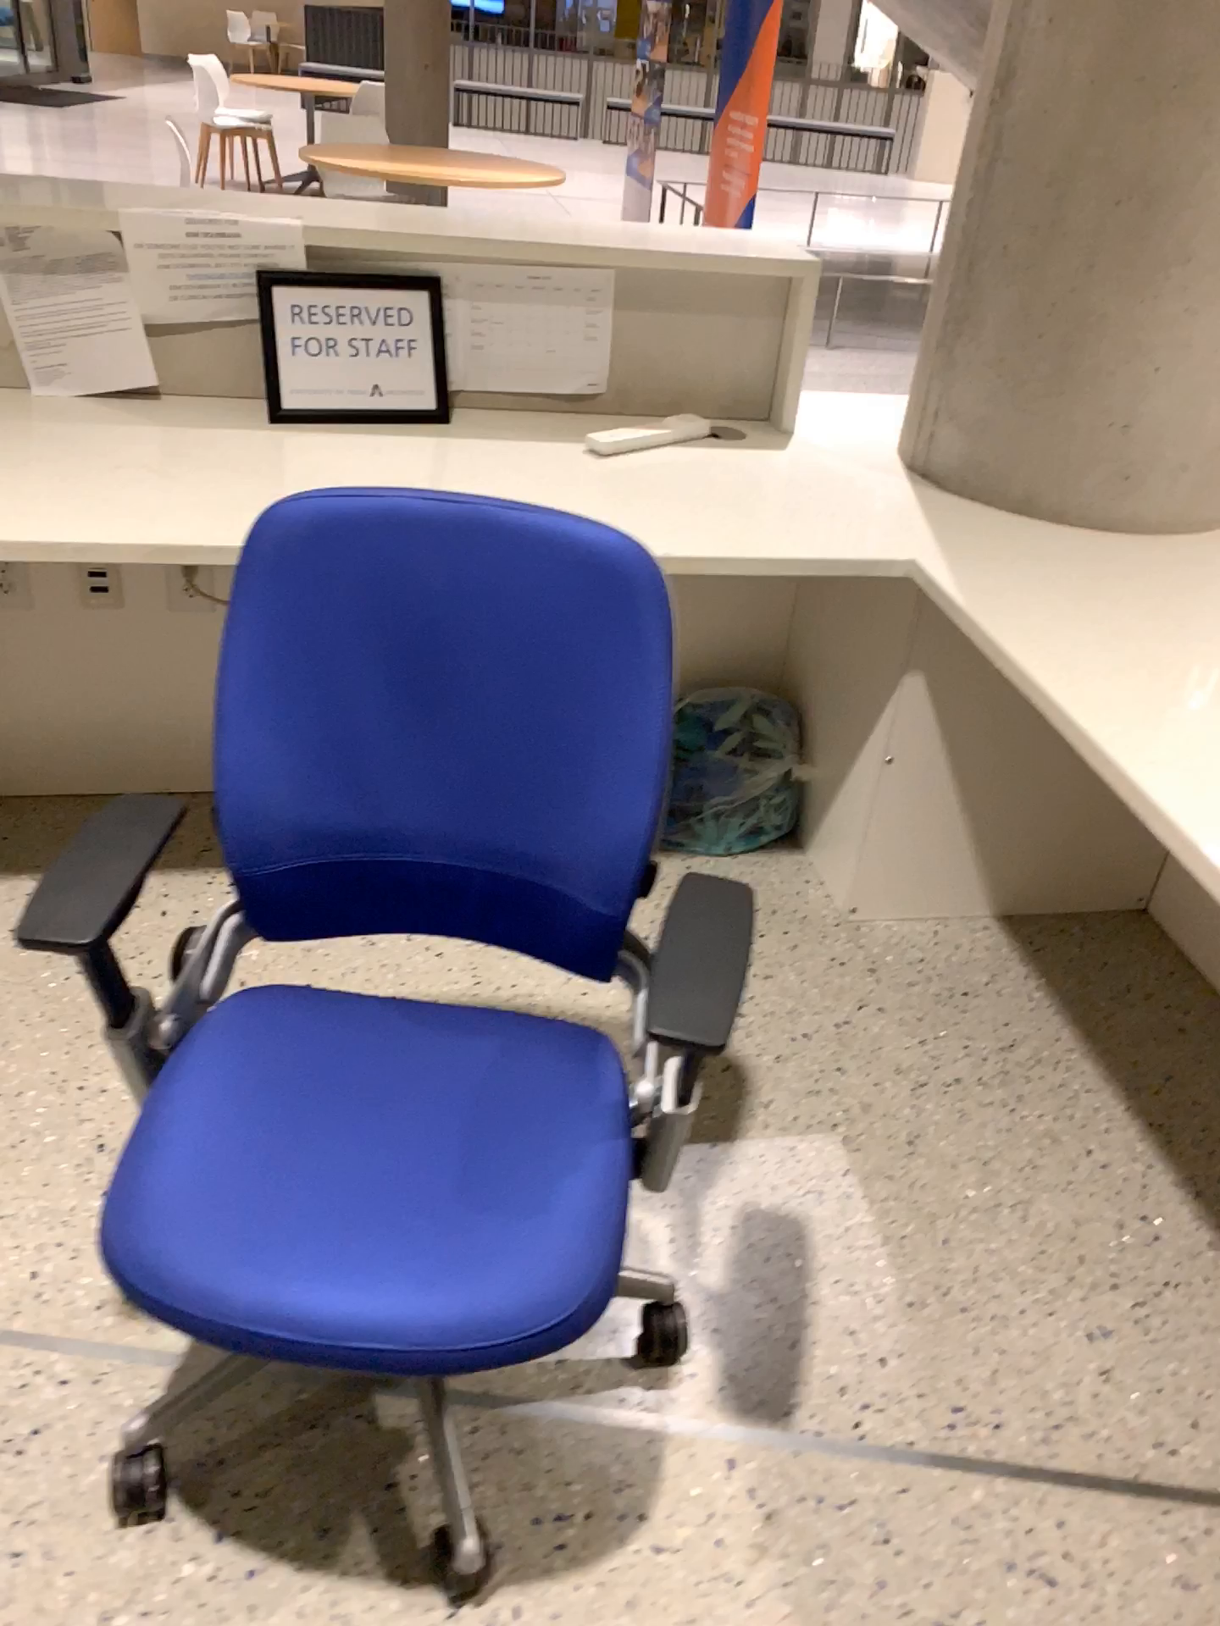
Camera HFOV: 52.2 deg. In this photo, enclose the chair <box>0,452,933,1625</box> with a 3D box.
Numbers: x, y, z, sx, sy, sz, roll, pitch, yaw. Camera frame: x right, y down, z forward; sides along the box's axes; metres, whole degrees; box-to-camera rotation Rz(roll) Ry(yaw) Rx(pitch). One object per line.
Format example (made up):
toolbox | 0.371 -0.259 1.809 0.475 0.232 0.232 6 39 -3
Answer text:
chair | -0.169 0.212 1.234 0.686 0.879 0.653 7 32 1
